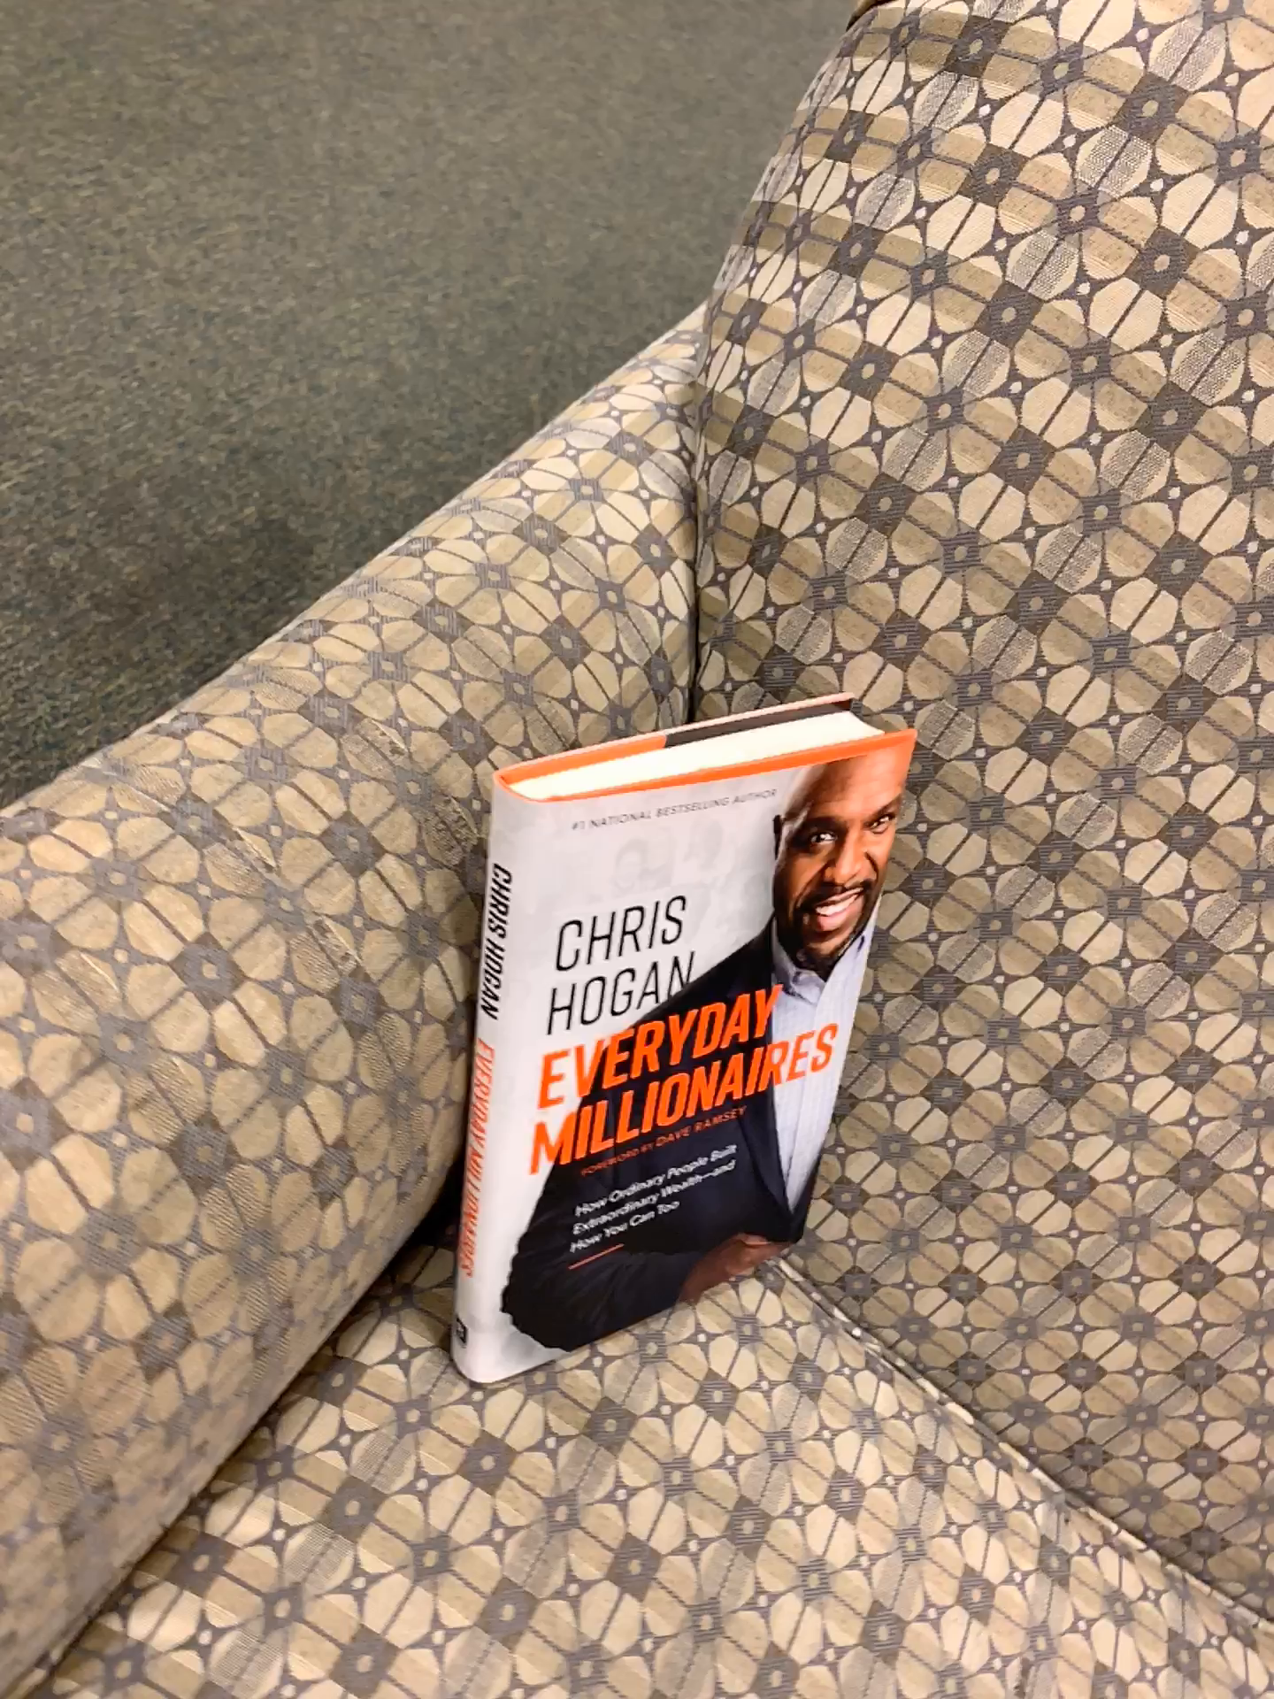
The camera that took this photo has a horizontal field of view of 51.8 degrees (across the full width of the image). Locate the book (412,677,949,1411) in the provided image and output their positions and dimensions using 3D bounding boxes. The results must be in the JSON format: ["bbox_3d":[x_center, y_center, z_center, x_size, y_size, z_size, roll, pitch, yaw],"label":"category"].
[{"bbox_3d":[0.009,0.069,0.457,0.161,0.244,0.038,-11,34,-31],"label":"book"}]
